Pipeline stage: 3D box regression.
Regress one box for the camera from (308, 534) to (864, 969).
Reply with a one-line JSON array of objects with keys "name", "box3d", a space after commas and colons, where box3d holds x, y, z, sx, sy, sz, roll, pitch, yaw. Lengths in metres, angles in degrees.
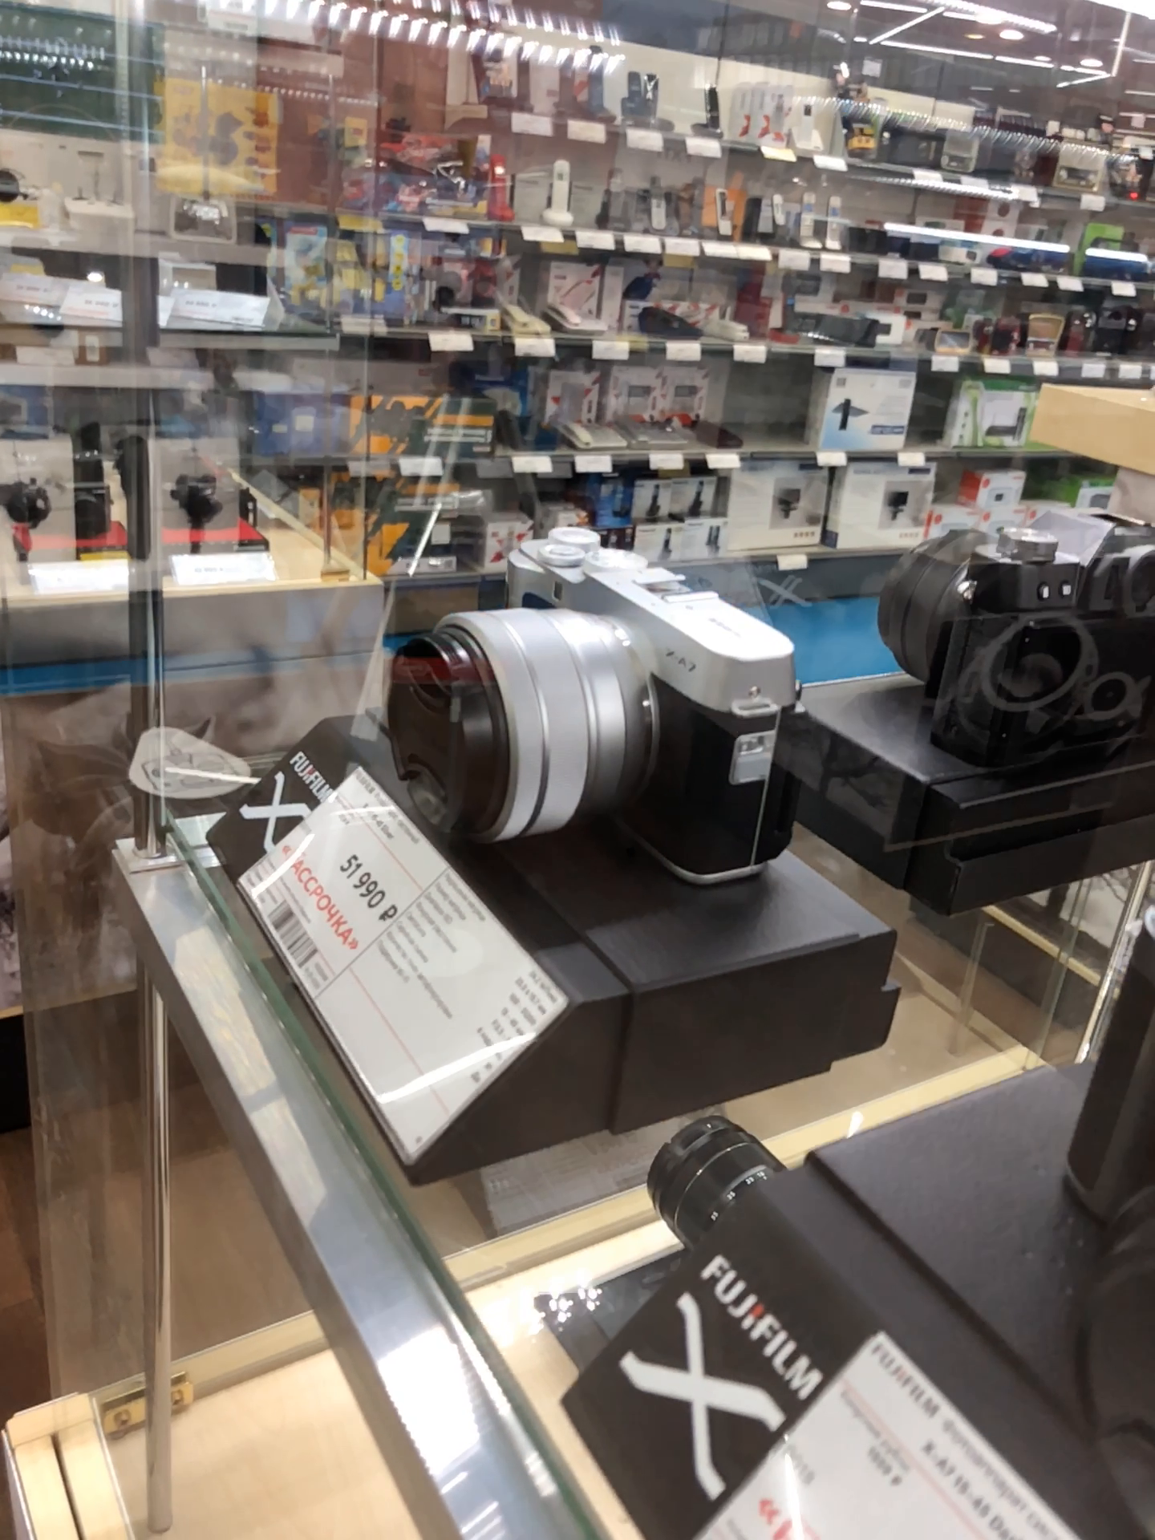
[{"name": "camera", "box3d": [-0.006, -0.016, 0.365, 0.100, 0.066, 0.134, -8, 28, -29]}]
